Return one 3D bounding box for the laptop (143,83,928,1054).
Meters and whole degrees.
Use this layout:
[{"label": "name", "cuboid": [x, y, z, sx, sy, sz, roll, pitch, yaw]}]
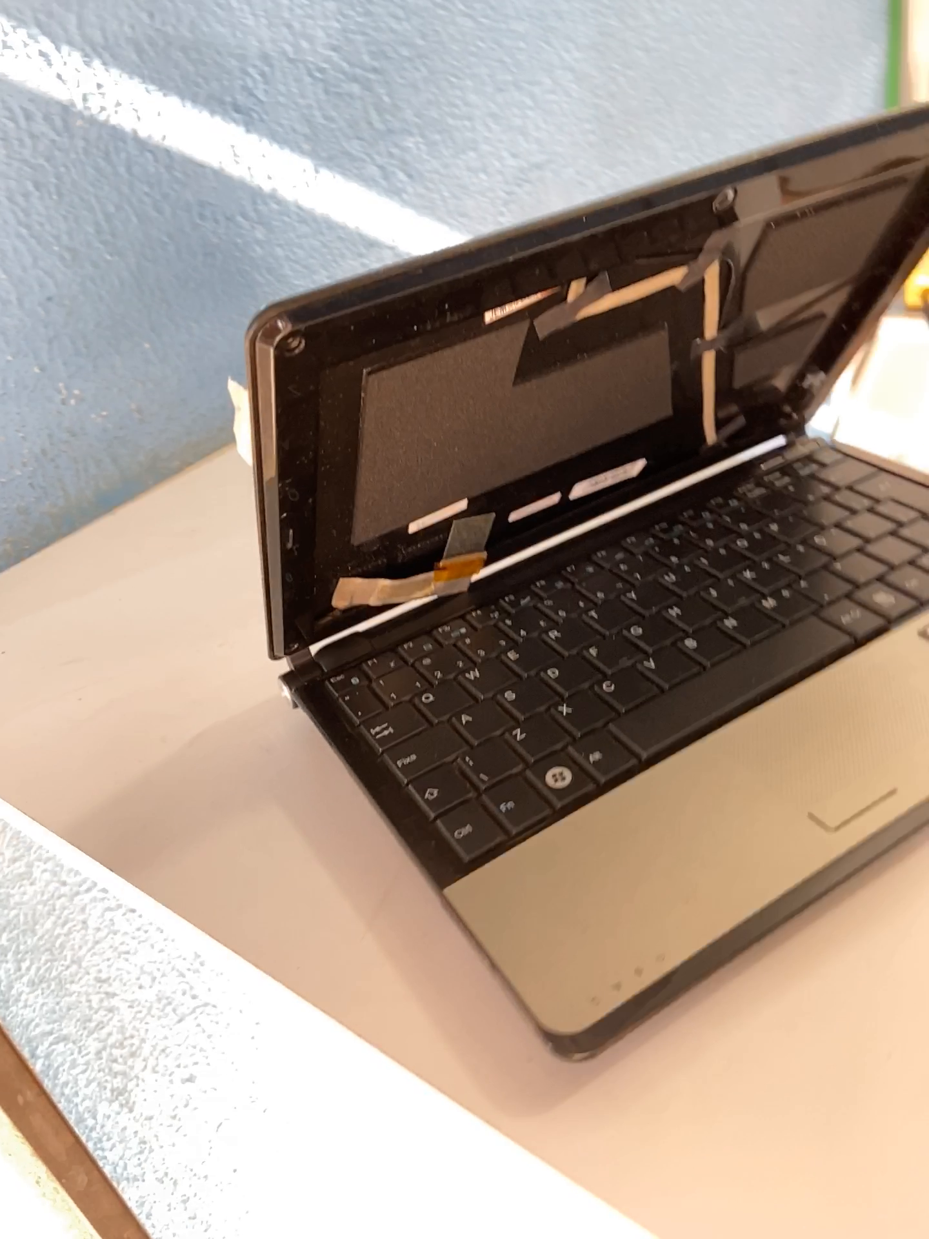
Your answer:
[{"label": "laptop", "cuboid": [0.082, -0.054, 0.298, 0.276, 0.144, 0.177, -25, 36, -20]}]
